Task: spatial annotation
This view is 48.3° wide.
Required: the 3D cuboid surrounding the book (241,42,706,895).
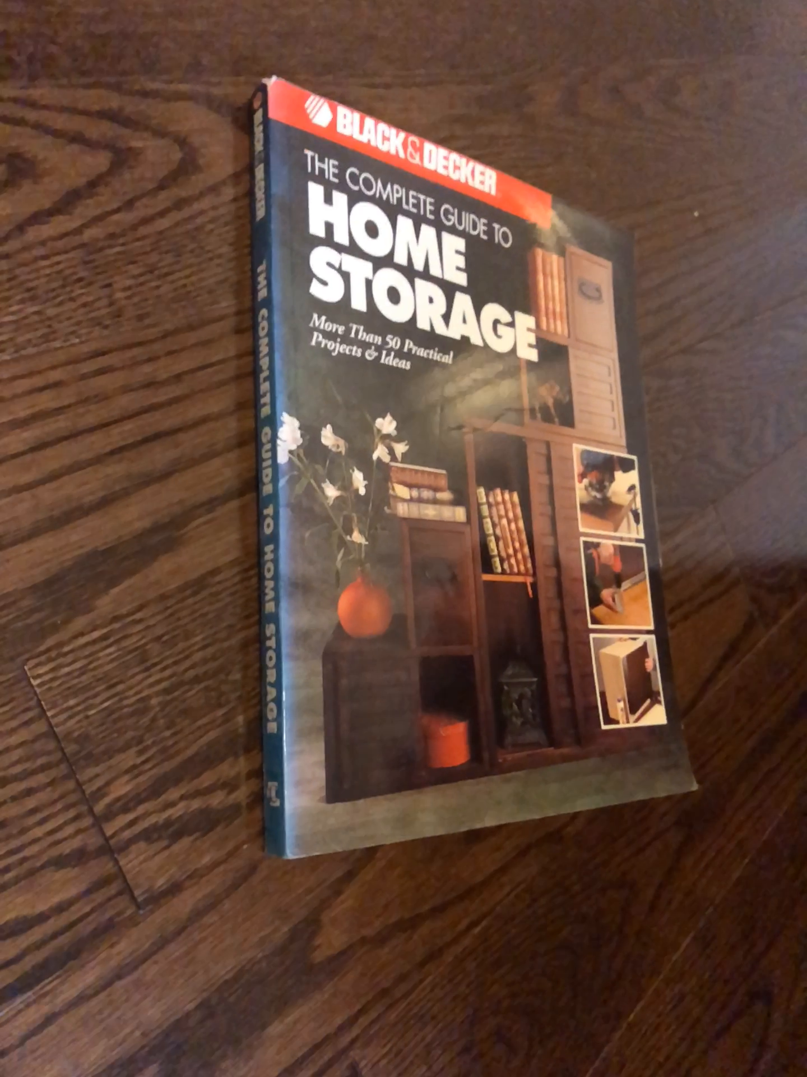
[{"bbox_3d":[0.037,-0.025,0.368,0.216,0.020,0.287,5,77,-38],"label":"book"}]
